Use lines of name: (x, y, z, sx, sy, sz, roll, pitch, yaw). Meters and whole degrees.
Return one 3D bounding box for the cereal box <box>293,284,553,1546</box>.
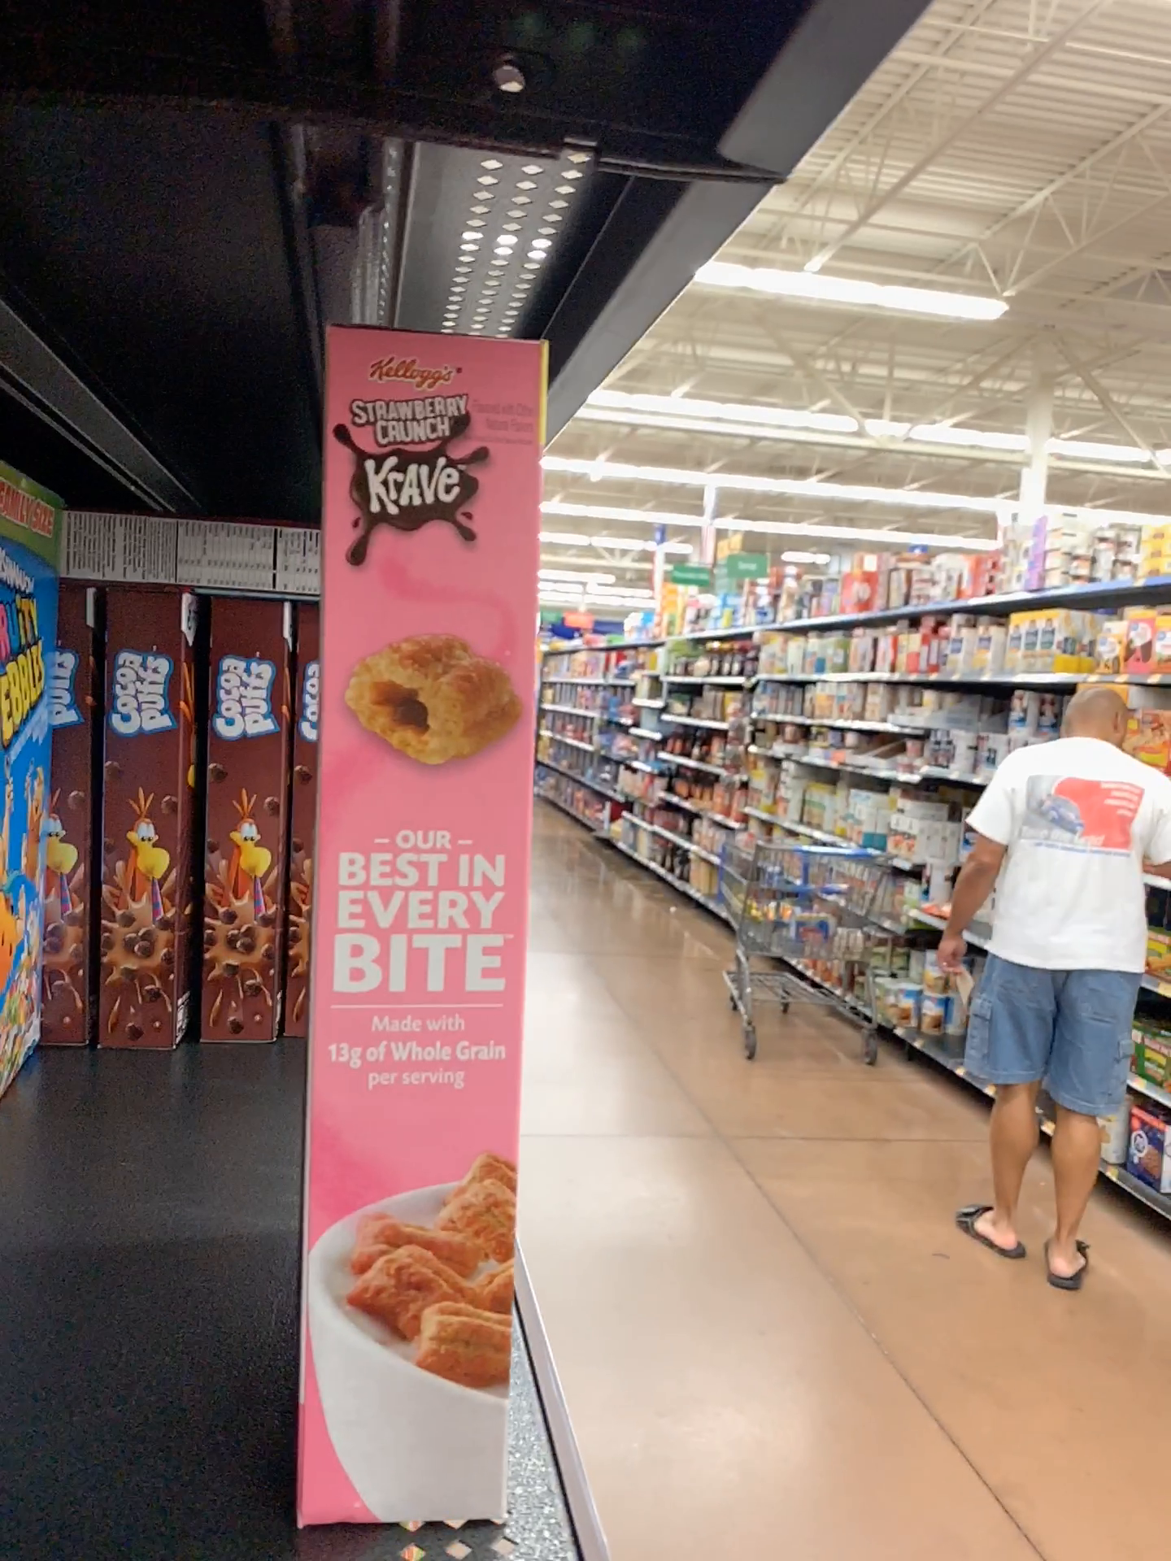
cereal box: (-0.057, 0.033, 0.414, 0.060, 0.330, 0.200, 1, 4, -8)
